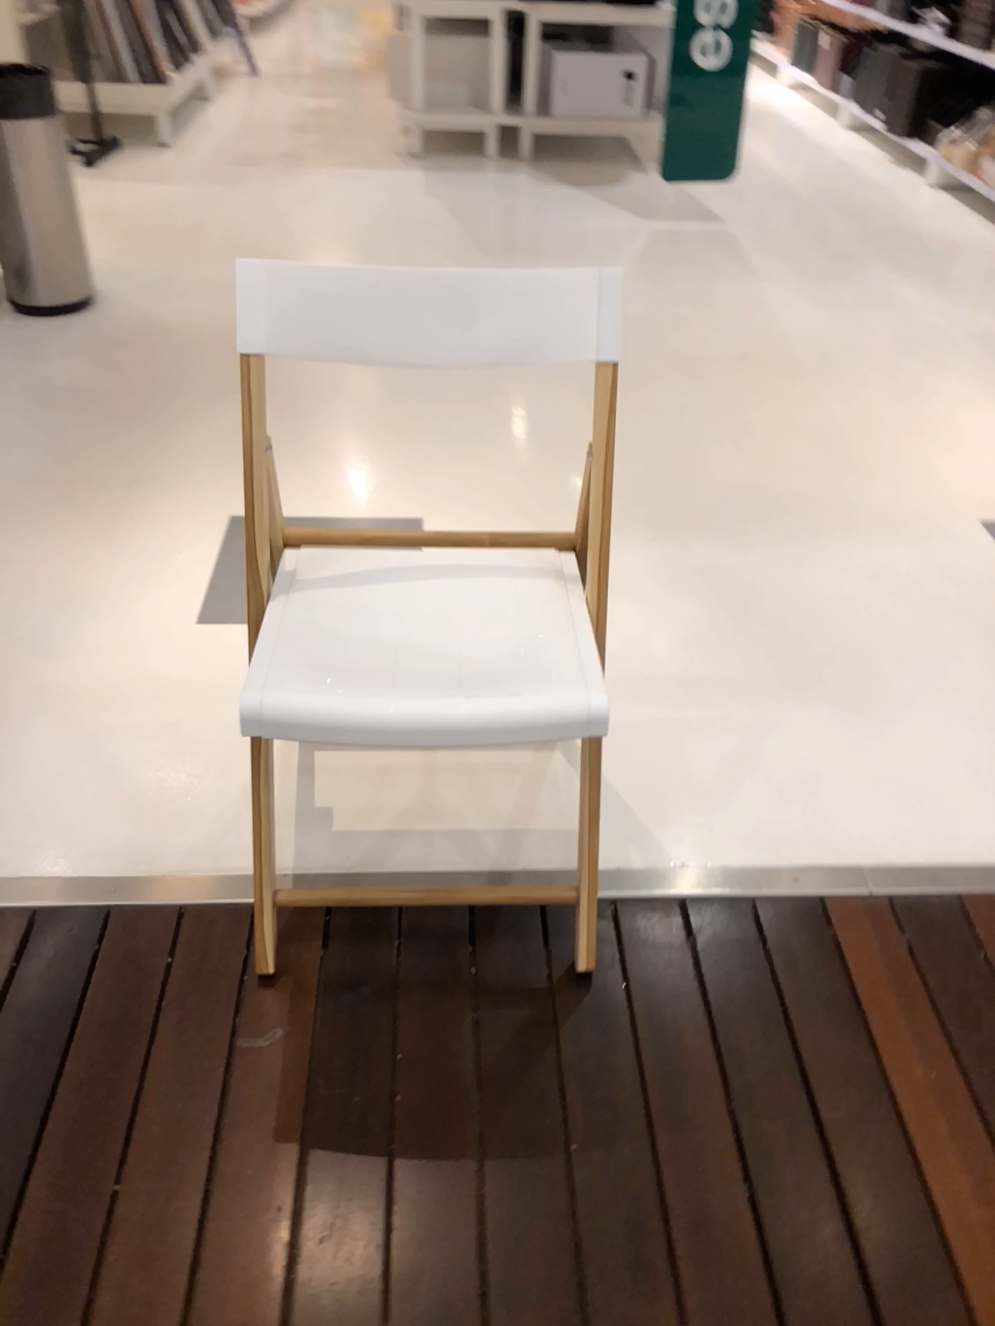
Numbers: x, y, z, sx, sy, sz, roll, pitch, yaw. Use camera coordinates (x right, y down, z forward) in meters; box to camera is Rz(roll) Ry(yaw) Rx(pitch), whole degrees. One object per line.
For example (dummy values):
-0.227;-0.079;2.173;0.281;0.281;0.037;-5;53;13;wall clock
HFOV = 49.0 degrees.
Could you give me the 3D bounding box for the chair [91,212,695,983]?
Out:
-0.096;-0.063;1.281;0.470;0.734;0.514;1;39;-2;chair
